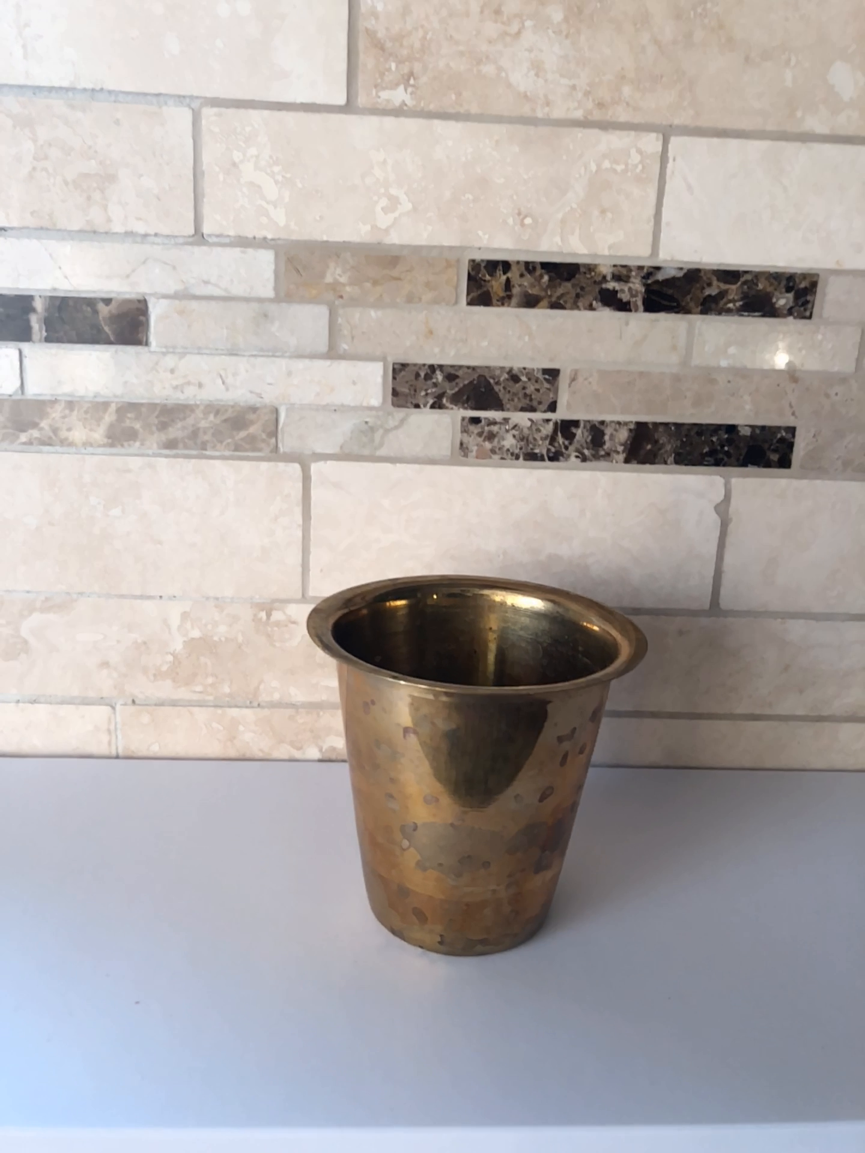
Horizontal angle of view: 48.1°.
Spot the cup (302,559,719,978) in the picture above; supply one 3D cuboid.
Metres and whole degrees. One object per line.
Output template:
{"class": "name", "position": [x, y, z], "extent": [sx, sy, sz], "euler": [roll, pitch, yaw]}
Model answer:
{"class": "cup", "position": [0.011, 0.041, 0.237], "extent": [0.083, 0.071, 0.075], "euler": [1, 16, -7]}
